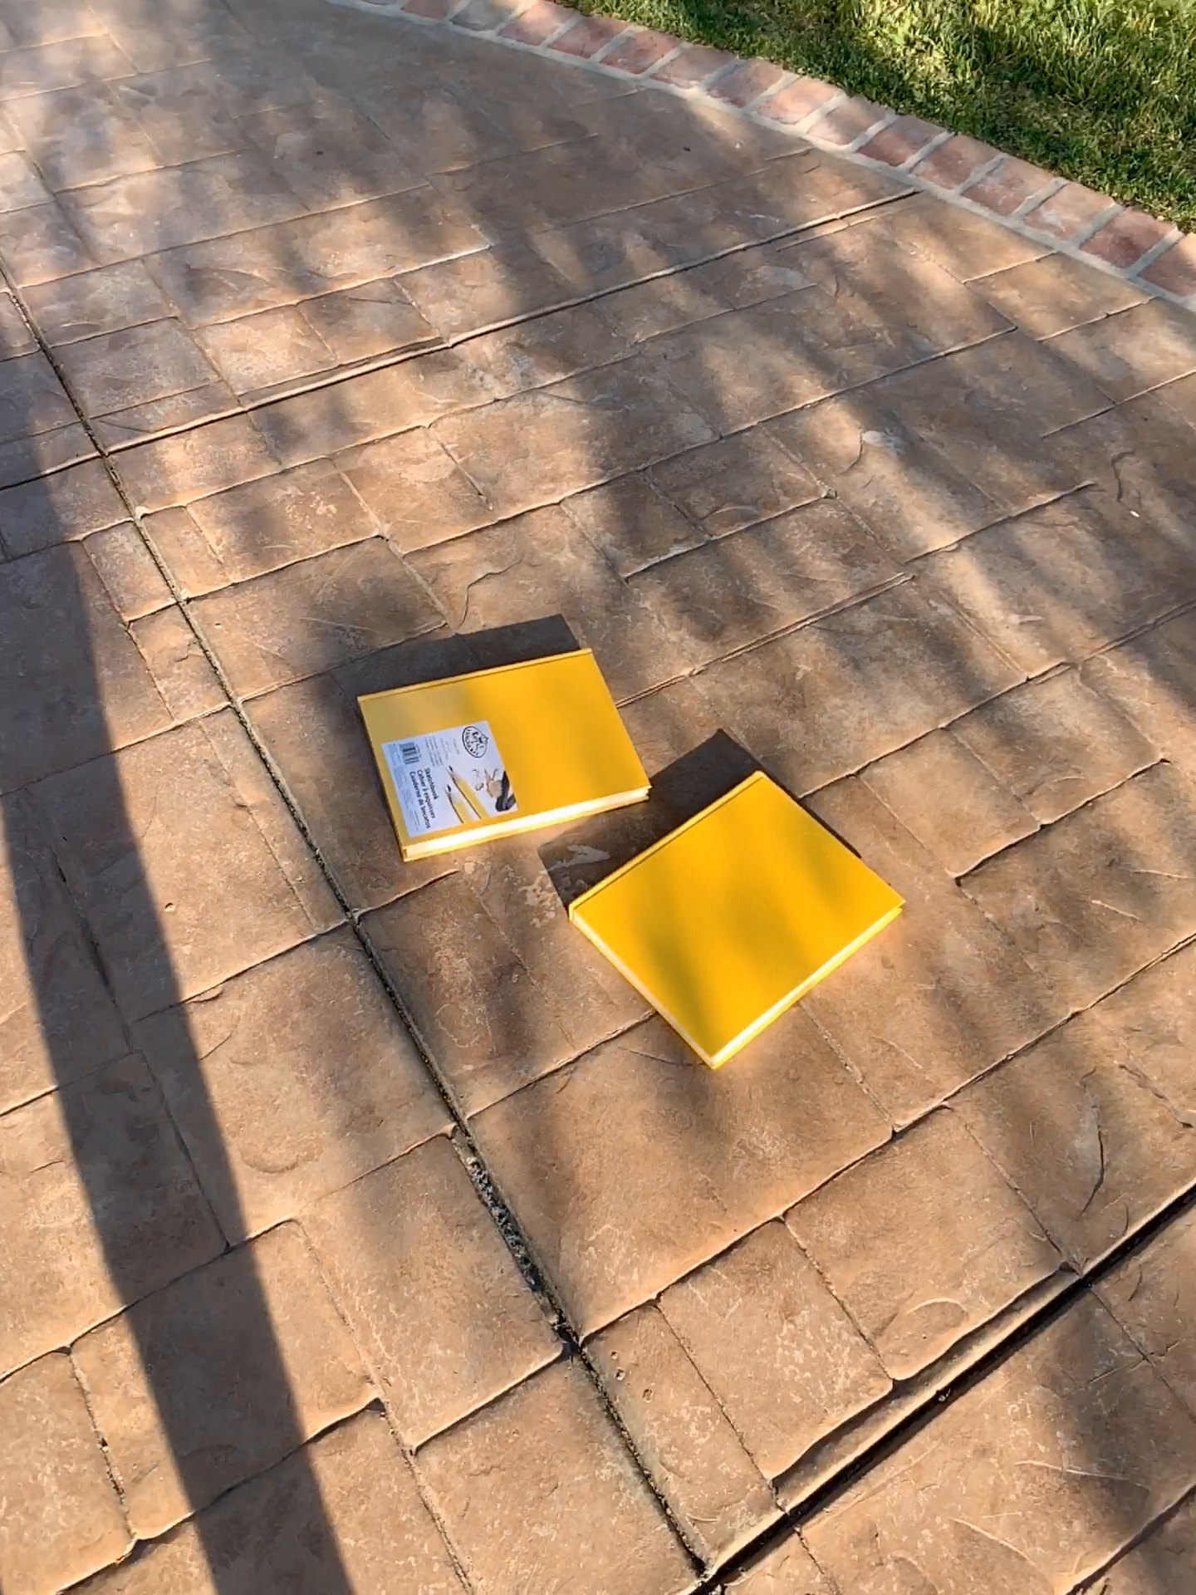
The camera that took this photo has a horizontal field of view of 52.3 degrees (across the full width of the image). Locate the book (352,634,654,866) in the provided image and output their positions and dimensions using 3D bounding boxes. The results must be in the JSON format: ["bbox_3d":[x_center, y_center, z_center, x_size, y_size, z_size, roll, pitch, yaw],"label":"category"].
[{"bbox_3d":[-0.113,-0.062,1.404,0.290,0.040,0.231,-14,57,-13],"label":"book"}]

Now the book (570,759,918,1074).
[{"bbox_3d":[0.156,0.115,1.303,0.290,0.040,0.231,-34,63,-24],"label":"book"}]
